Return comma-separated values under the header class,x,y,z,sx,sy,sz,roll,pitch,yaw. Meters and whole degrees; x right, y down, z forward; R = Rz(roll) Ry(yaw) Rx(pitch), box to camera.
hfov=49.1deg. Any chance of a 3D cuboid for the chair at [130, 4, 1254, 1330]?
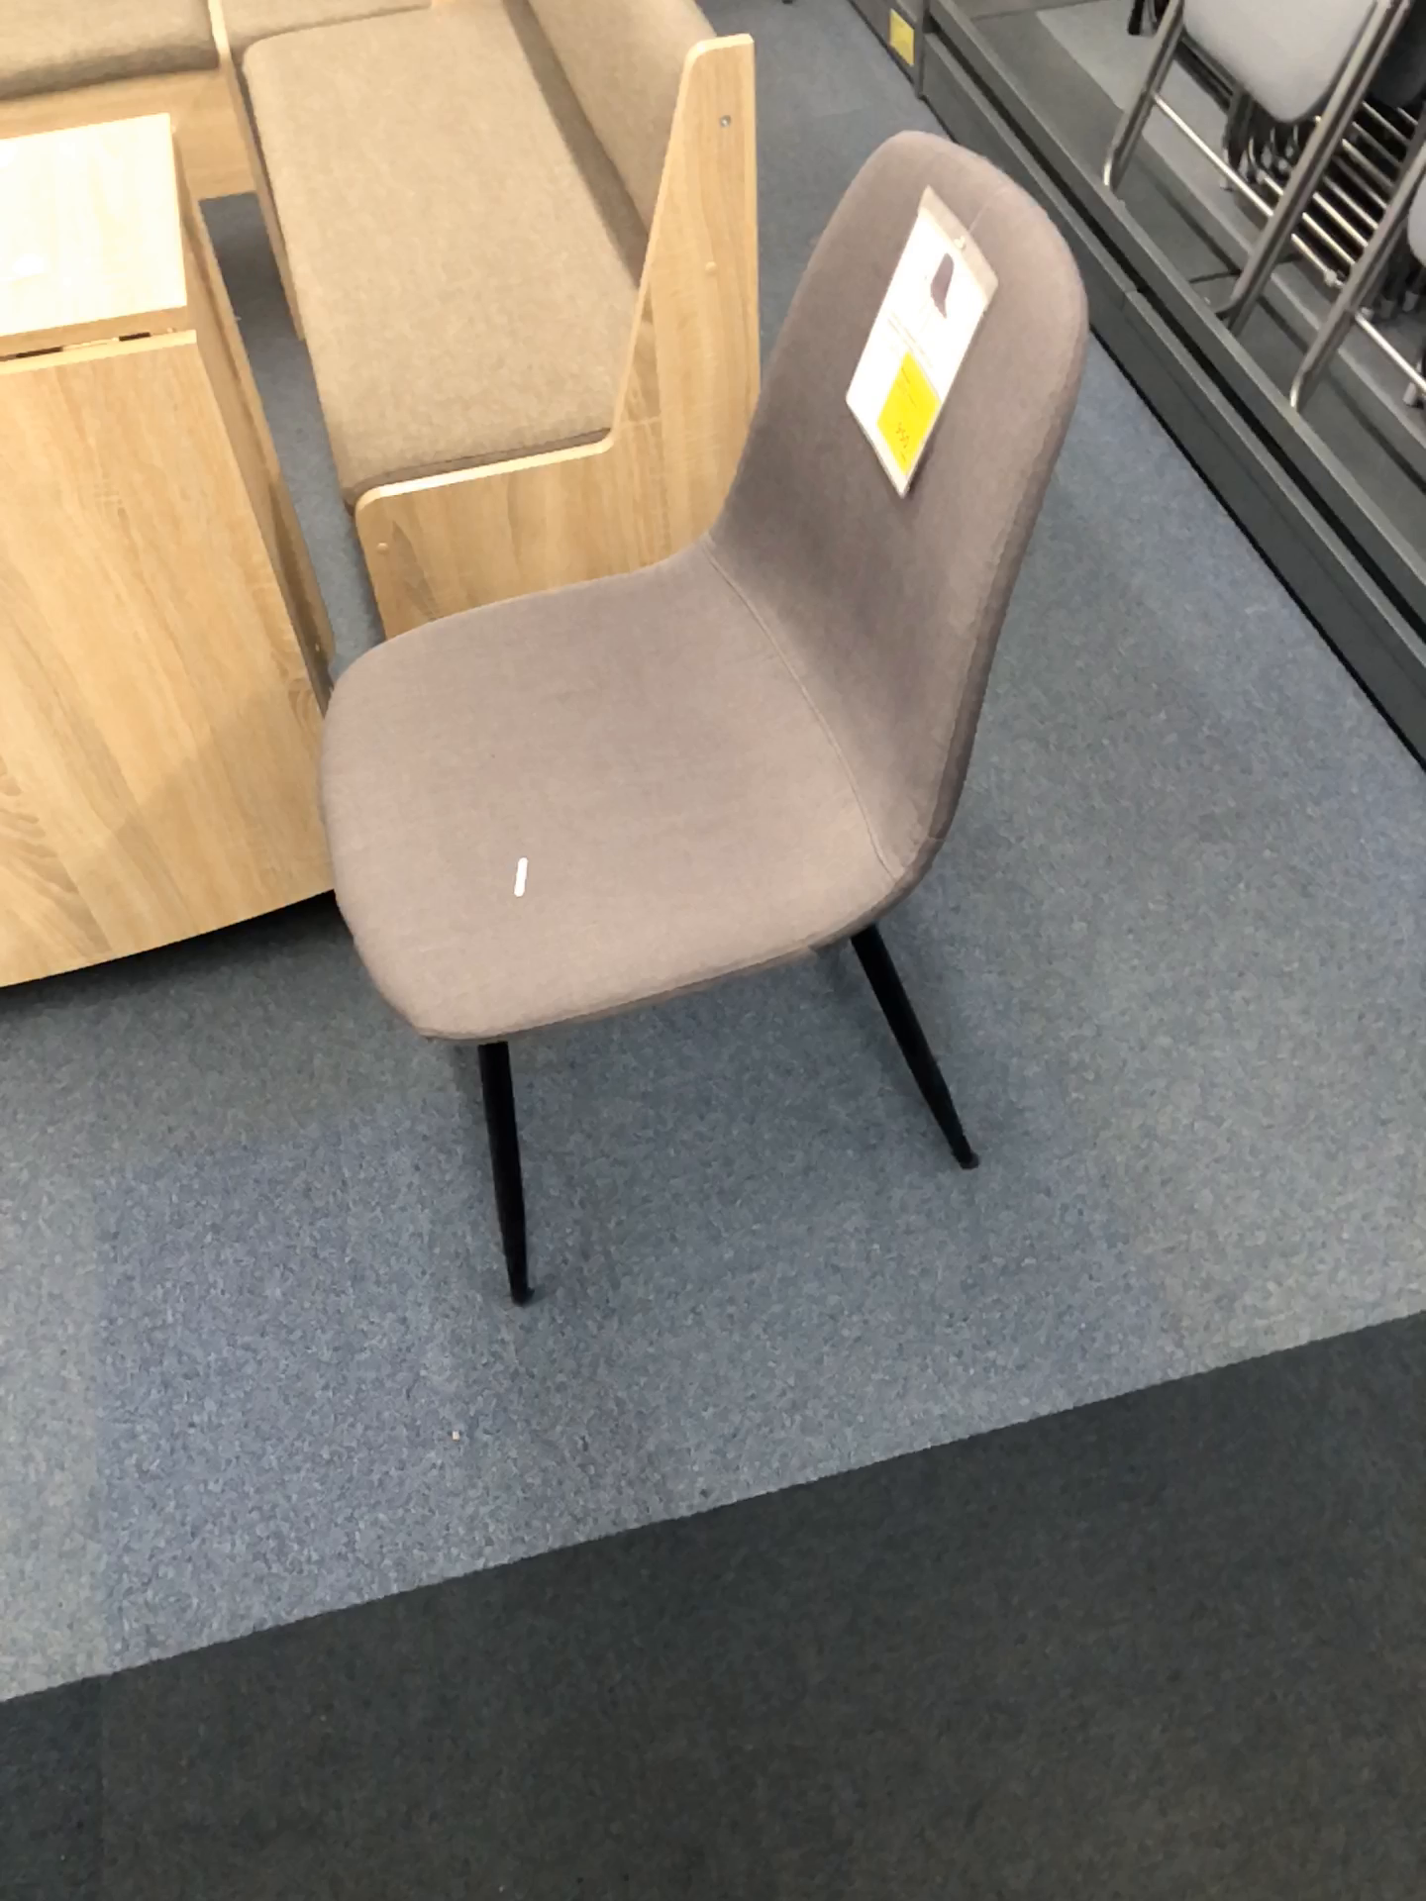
class,x,y,z,sx,sy,sz,roll,pitch,yaw
chair,-0.030,-0.165,1.228,0.540,0.807,0.481,-15,53,-8
